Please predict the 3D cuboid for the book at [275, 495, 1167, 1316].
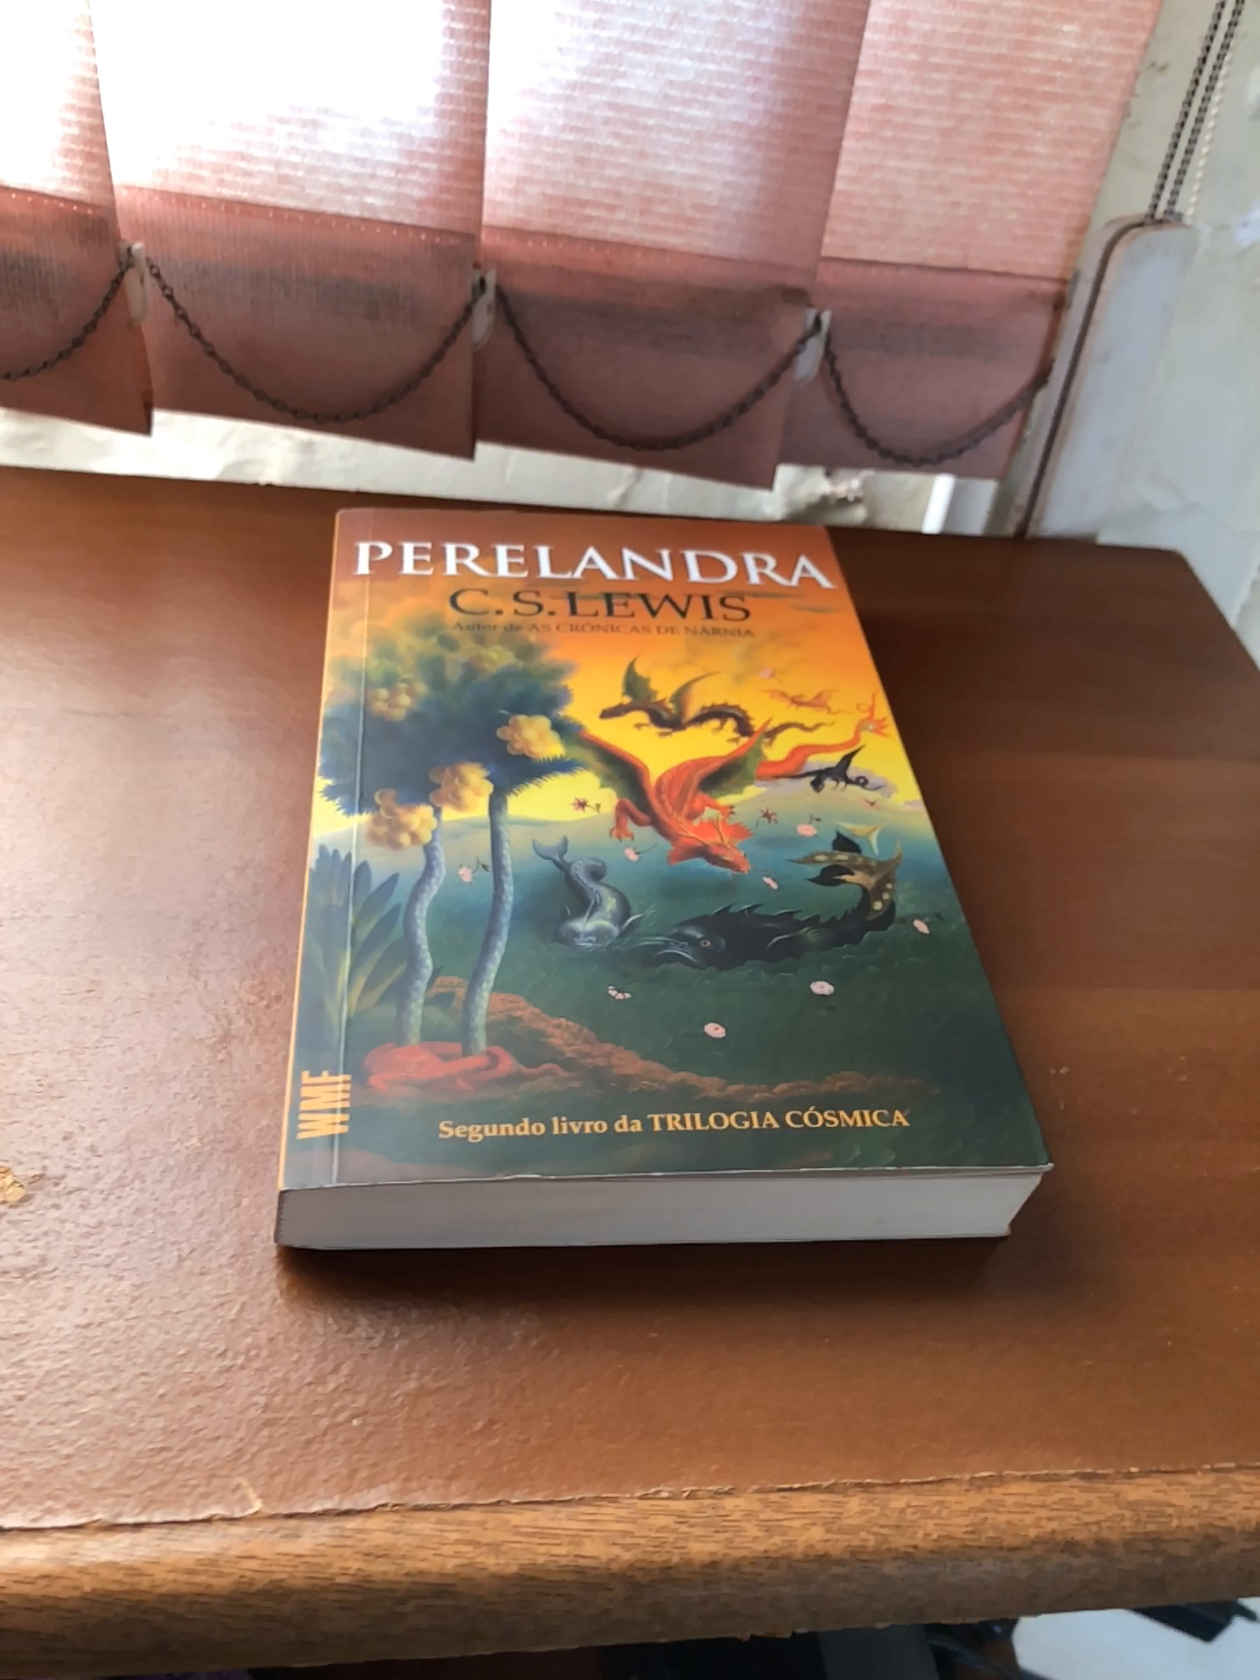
[{"bbox_3d":[0.005,-0.005,0.280,0.130,0.030,0.191,0,43,-8],"label":"book"}]
